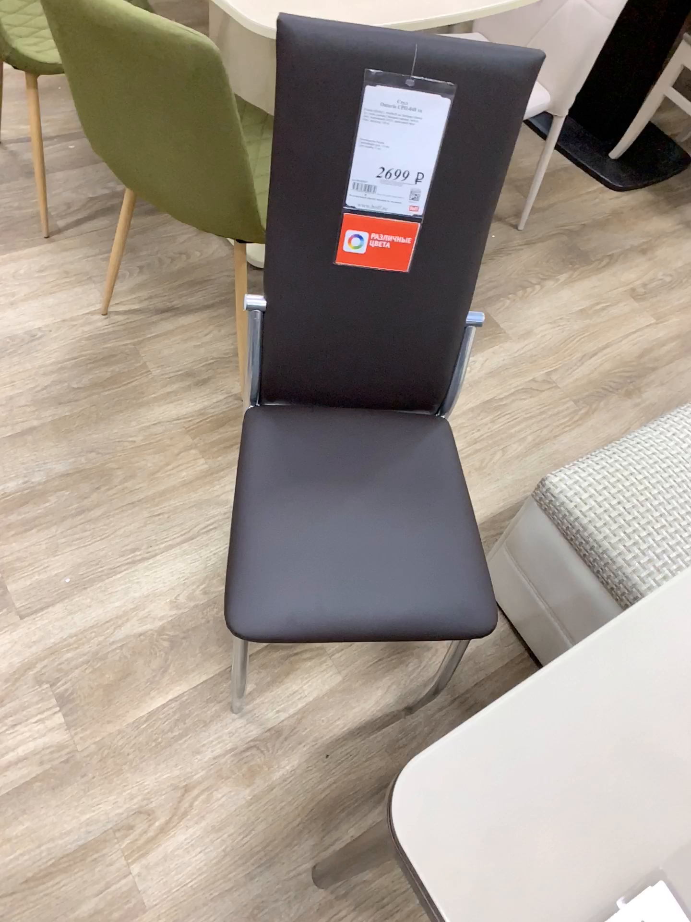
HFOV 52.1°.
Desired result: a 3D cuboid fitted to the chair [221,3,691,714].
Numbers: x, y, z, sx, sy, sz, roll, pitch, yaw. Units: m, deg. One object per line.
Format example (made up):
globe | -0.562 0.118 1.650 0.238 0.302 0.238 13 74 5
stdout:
chair | 0.044 -0.005 1.072 0.420 0.996 0.502 3 56 -8
